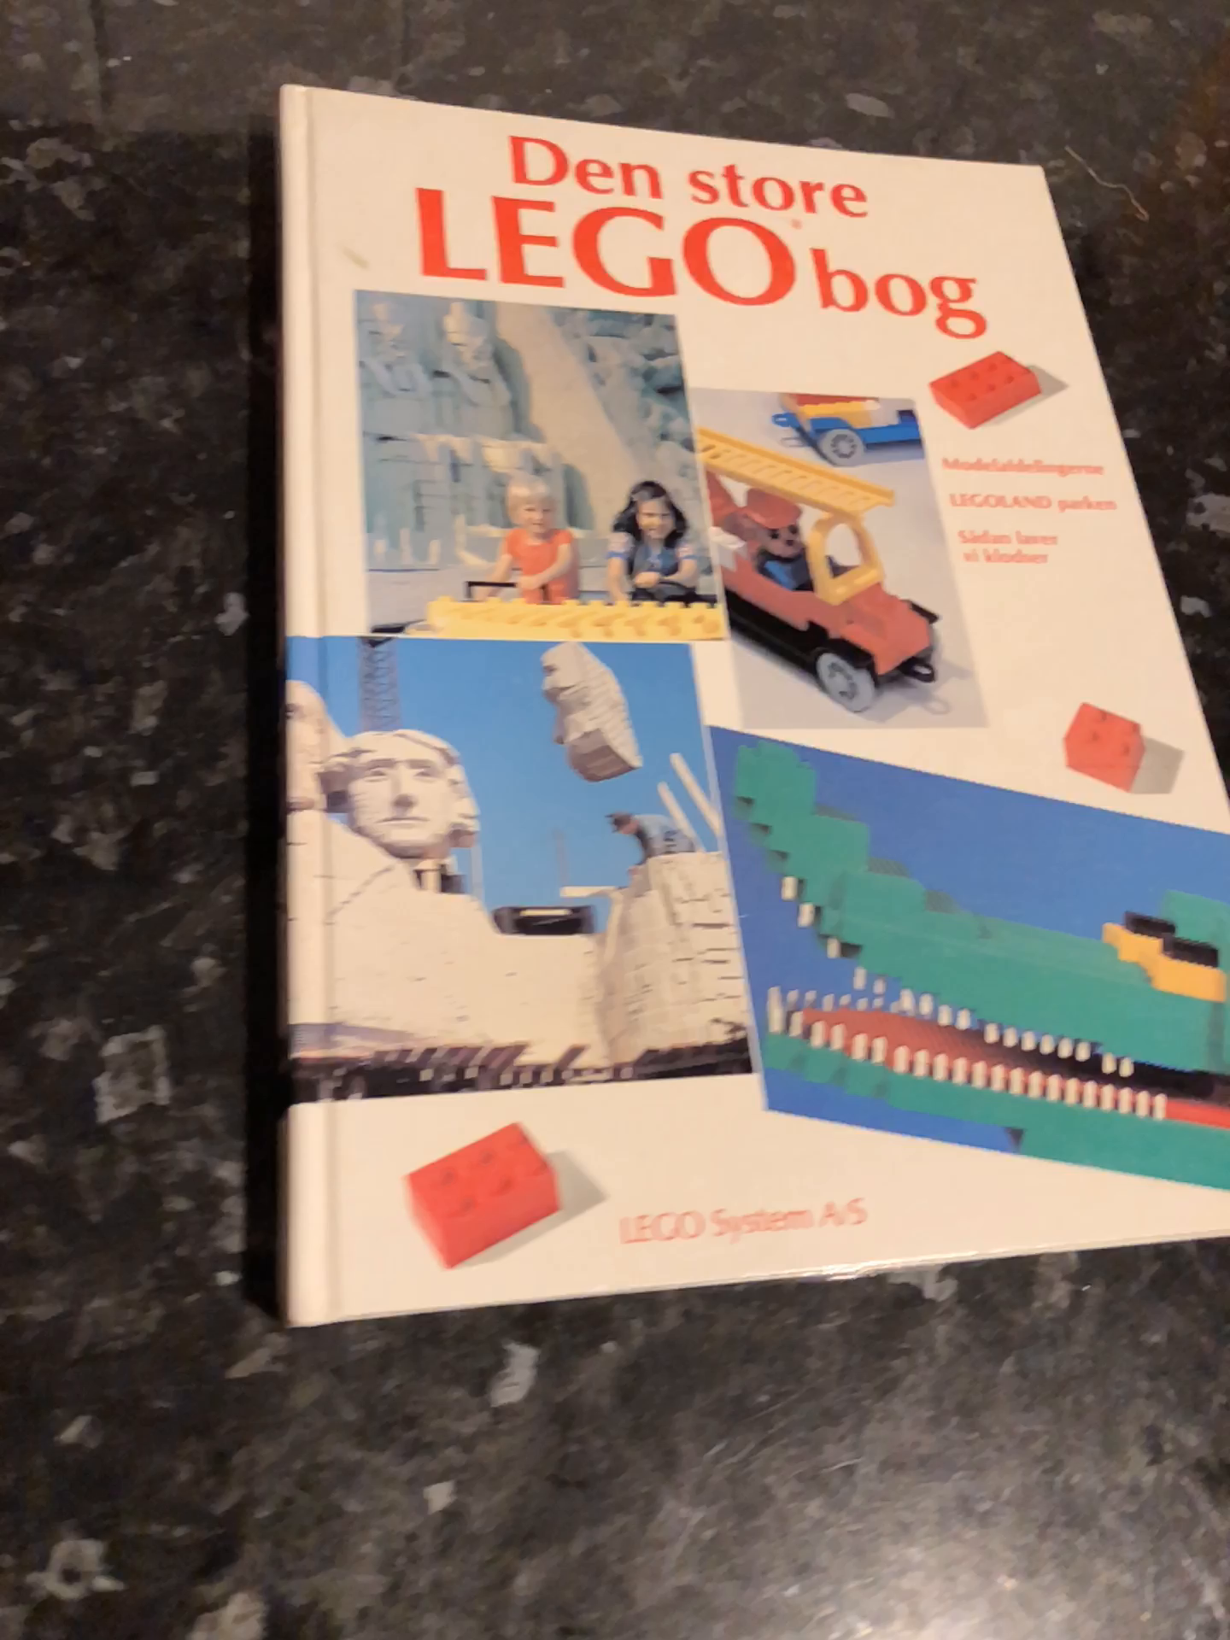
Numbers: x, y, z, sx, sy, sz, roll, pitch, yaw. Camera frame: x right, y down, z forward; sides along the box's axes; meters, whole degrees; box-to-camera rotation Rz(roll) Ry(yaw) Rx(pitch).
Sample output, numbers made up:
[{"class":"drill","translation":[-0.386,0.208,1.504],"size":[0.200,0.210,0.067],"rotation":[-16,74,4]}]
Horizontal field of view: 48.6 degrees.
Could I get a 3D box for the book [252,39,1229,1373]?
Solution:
[{"class":"book","translation":[0.029,-0.044,0.303],"size":[0.210,0.030,0.291],"rotation":[0,67,-14]}]
